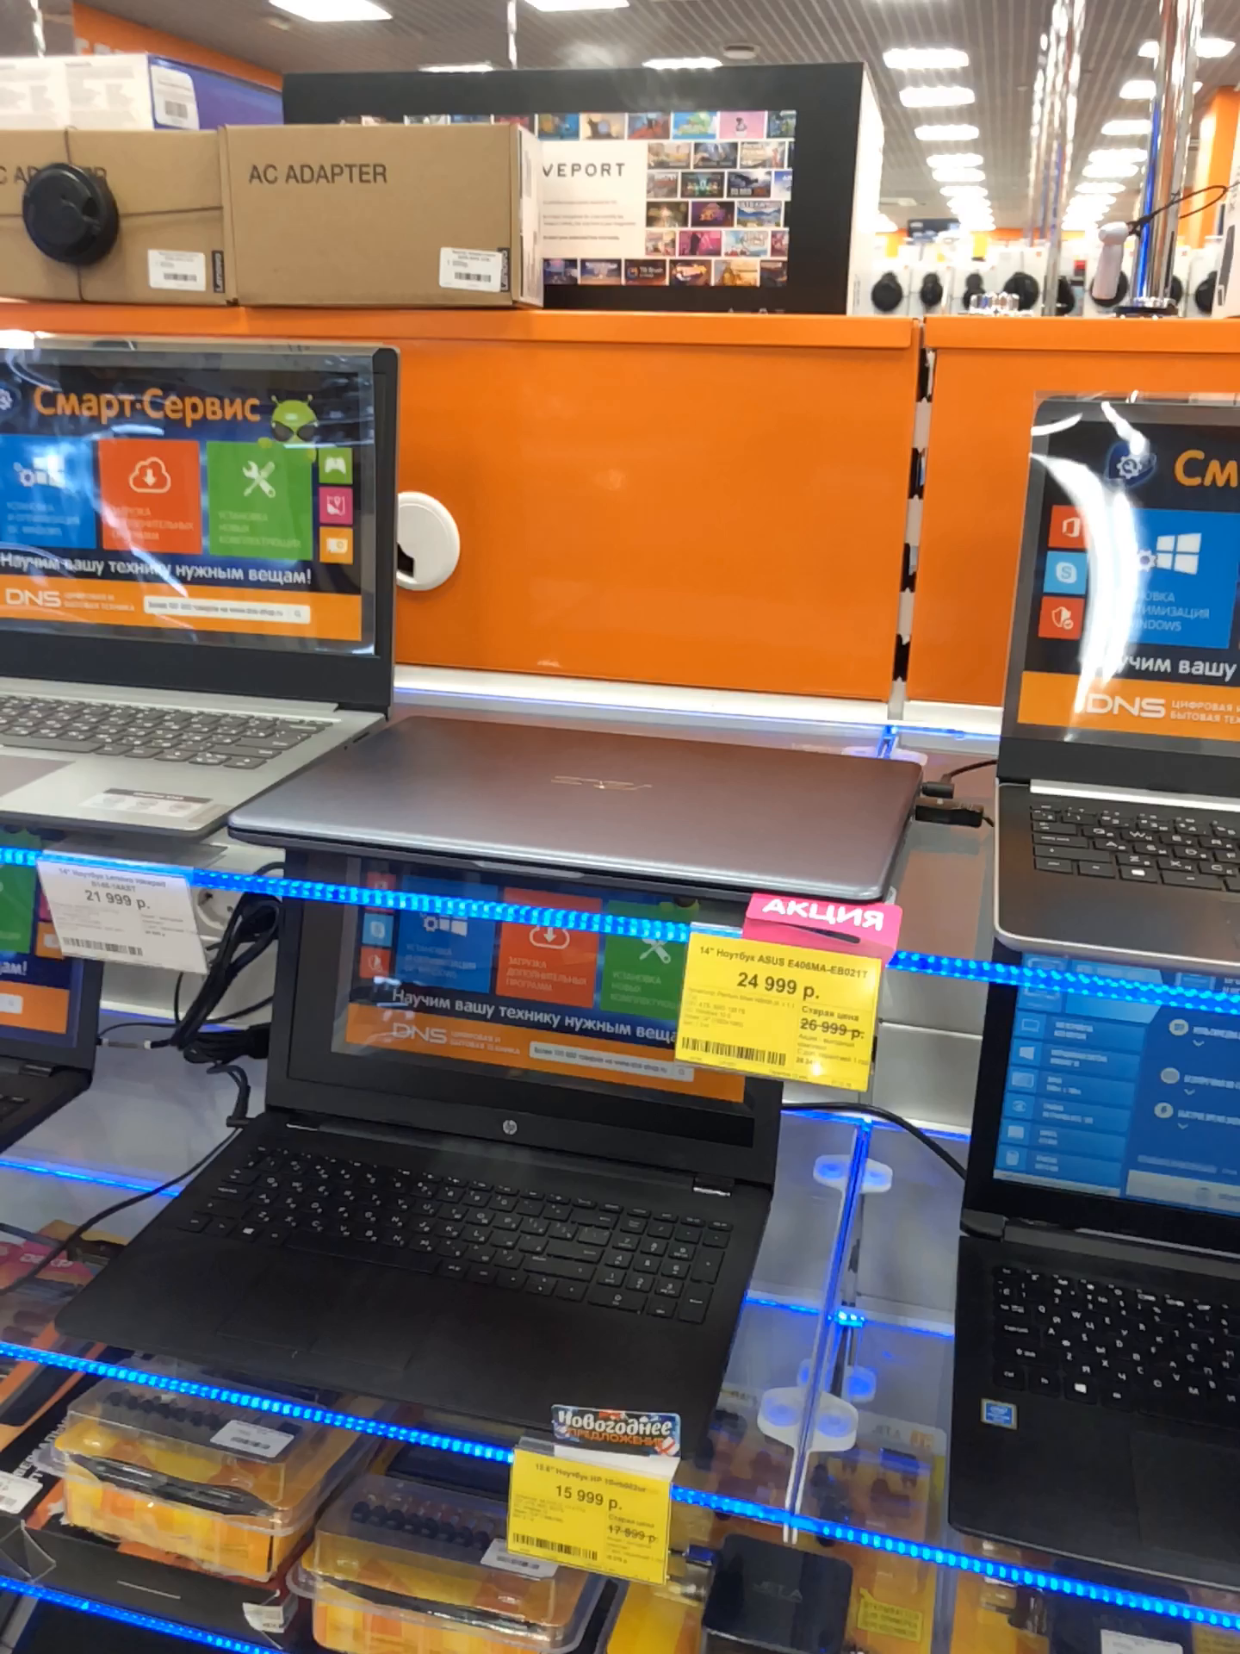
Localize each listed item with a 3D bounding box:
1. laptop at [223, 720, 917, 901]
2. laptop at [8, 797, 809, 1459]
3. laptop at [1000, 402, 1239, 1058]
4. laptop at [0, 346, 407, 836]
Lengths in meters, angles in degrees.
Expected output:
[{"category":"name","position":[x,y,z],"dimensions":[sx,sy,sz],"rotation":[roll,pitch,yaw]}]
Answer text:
[{"category":"laptop","position":[-0.014,-0.018,0.739],"dimensions":[0.324,0.001,0.214],"rotation":[6,20,16]},{"category":"laptop","position":[-0.100,0.150,0.851],"dimensions":[0.376,0.227,0.314],"rotation":[5,19,15]},{"category":"laptop","position":[0.359,-0.076,0.625],"dimensions":[0.336,0.205,0.272],"rotation":[6,20,13]},{"category":"laptop","position":[-0.347,-0.165,0.811],"dimensions":[0.353,0.225,0.290],"rotation":[5,20,13]}]
